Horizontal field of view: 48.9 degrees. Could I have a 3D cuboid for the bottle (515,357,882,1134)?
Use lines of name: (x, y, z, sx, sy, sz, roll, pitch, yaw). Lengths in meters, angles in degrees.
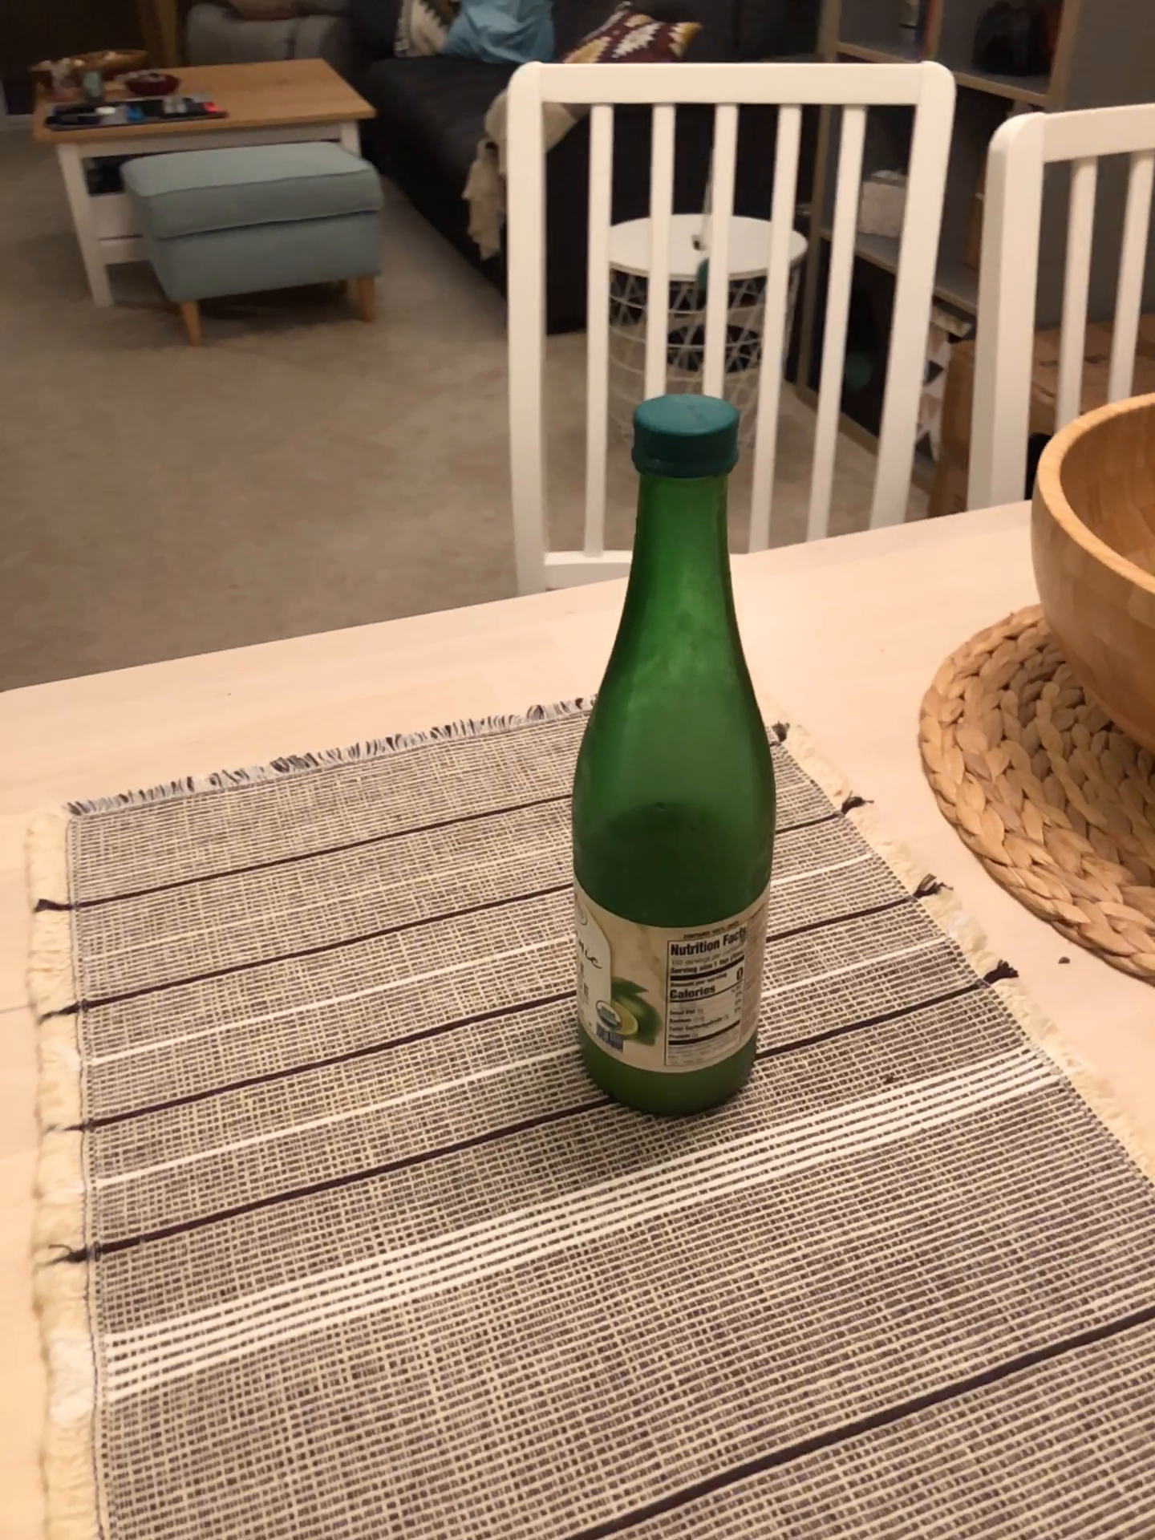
bottle: (0.029, 0.003, 0.401, 0.081, 0.236, 0.080, 0, 37, 0)
